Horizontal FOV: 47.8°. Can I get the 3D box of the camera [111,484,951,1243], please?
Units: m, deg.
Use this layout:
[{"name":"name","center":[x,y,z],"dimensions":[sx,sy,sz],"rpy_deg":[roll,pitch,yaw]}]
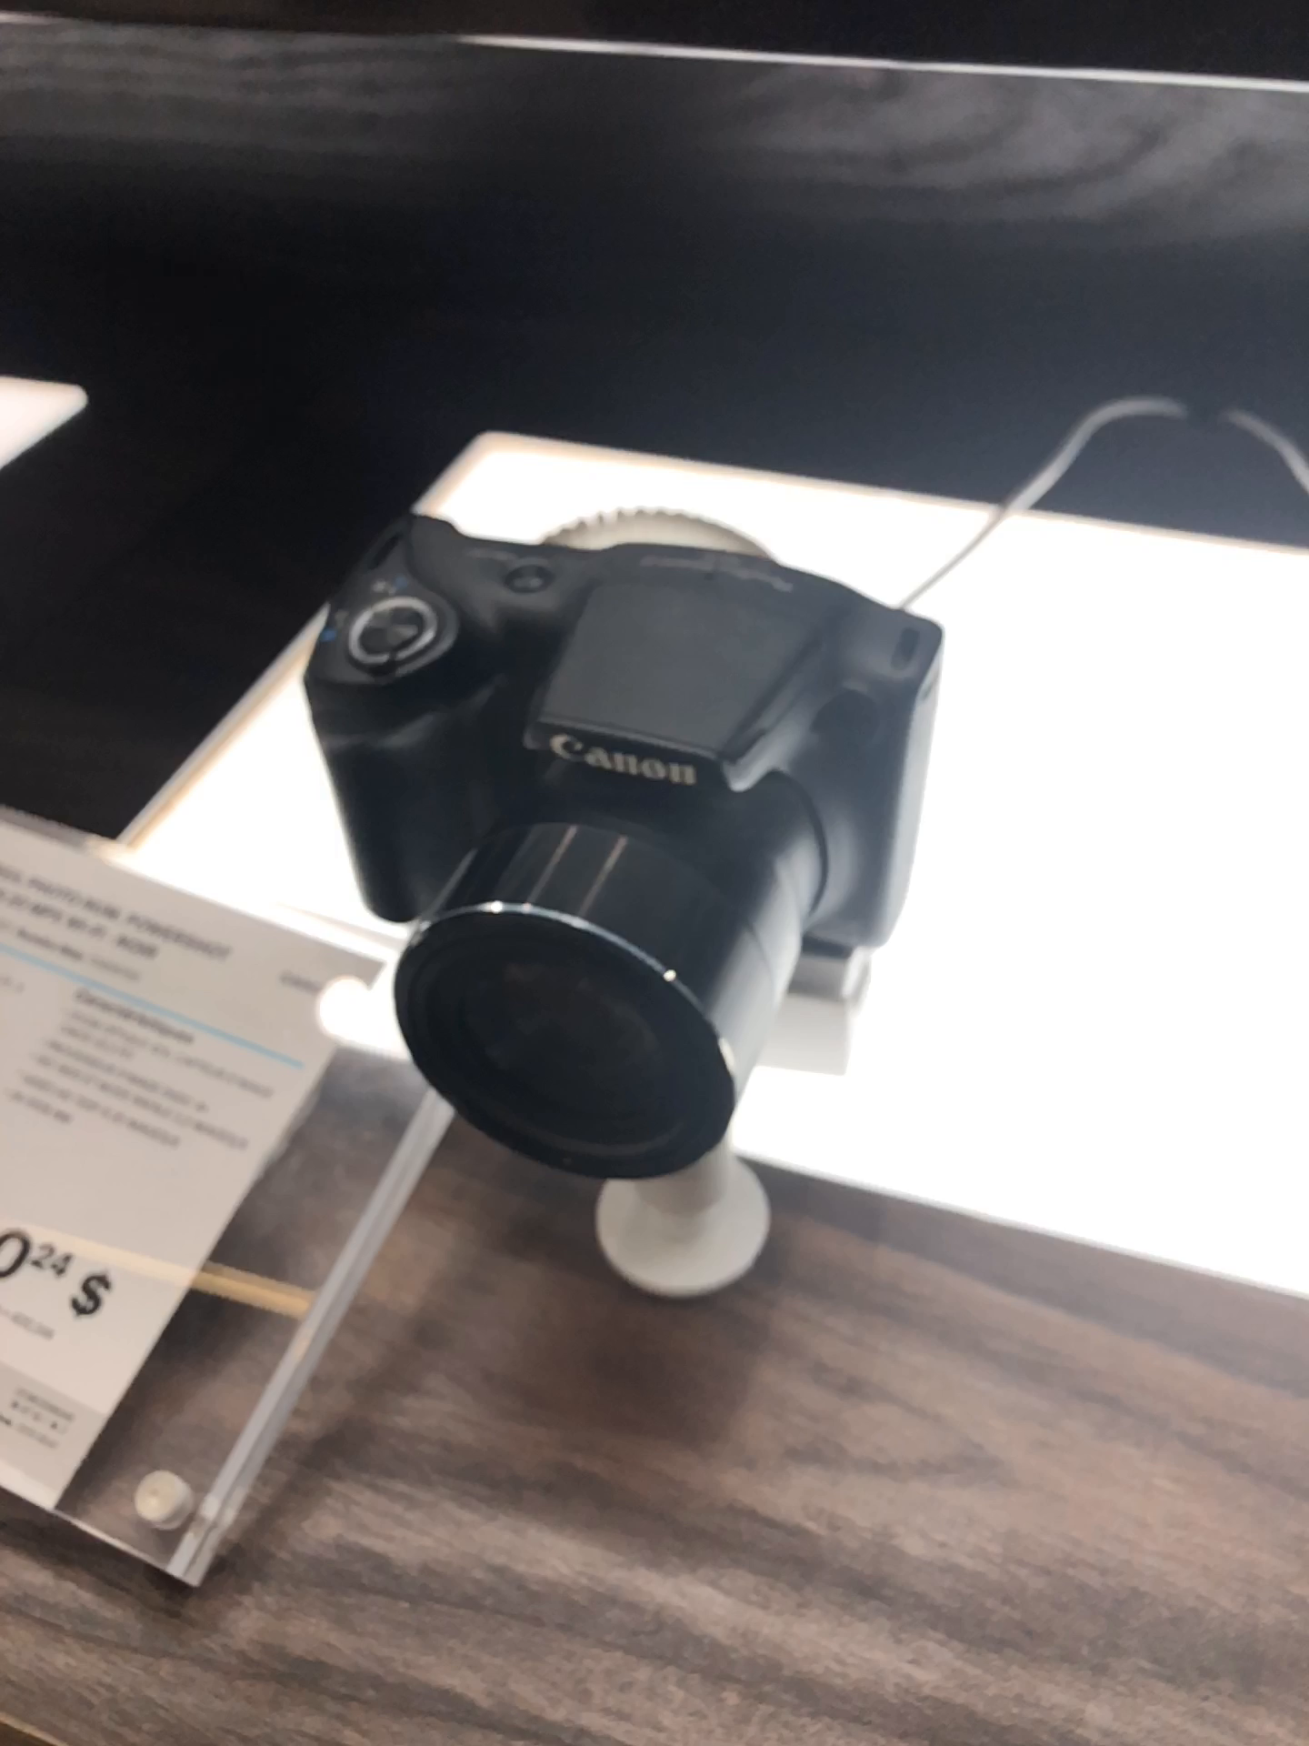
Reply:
[{"name":"camera","center":[-0.012,-0.005,0.241],"dimensions":[0.102,0.074,0.081],"rpy_deg":[9,43,13]}]
